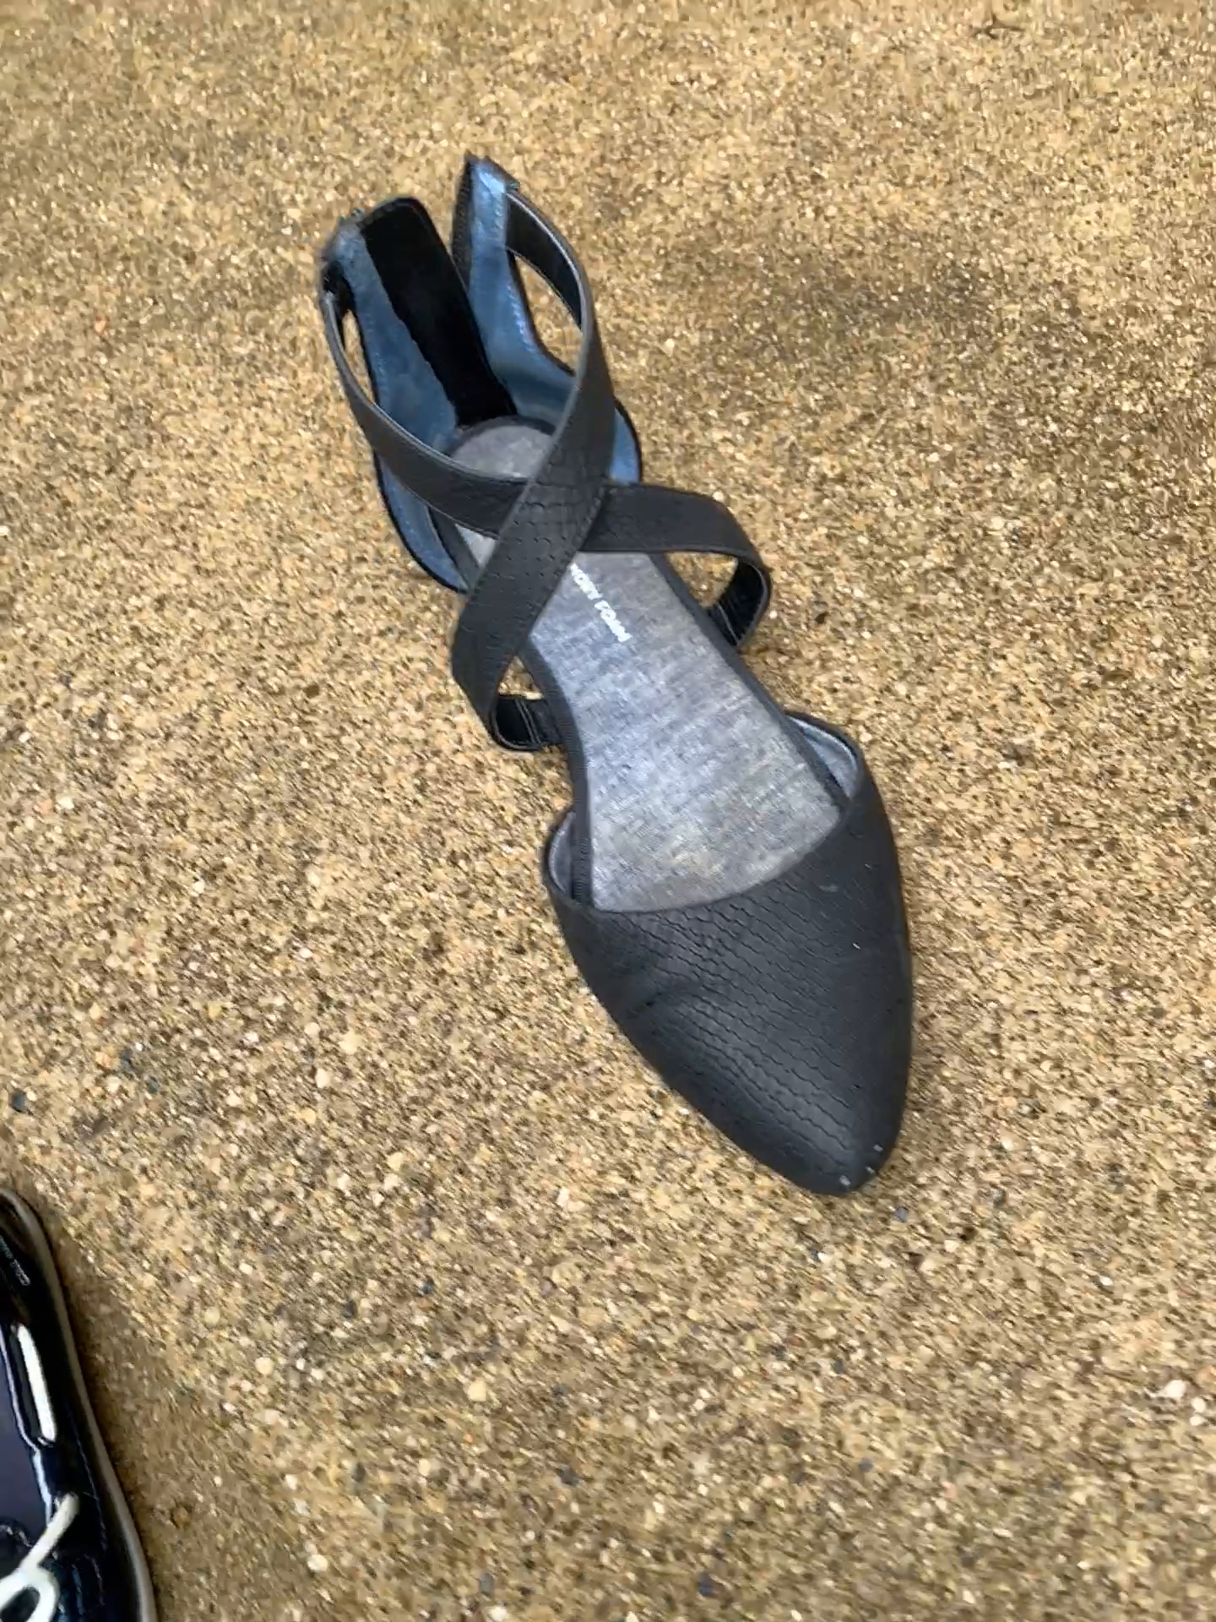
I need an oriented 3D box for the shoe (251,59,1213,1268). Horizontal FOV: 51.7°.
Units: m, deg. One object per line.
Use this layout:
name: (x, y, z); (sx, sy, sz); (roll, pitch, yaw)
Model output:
shoe: (0.010, -0.042, 0.308); (0.097, 0.113, 0.264); (-23, 63, -4)
